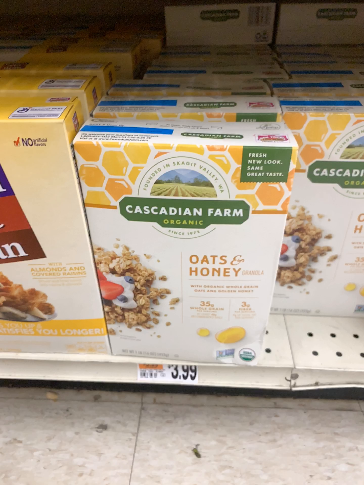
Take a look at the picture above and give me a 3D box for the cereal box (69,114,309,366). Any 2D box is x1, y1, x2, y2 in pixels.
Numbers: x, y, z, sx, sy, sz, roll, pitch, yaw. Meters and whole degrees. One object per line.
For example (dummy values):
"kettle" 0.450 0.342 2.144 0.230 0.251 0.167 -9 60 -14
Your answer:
"cereal box" 0.007 0.010 0.343 0.160 0.229 0.060 3 36 5
